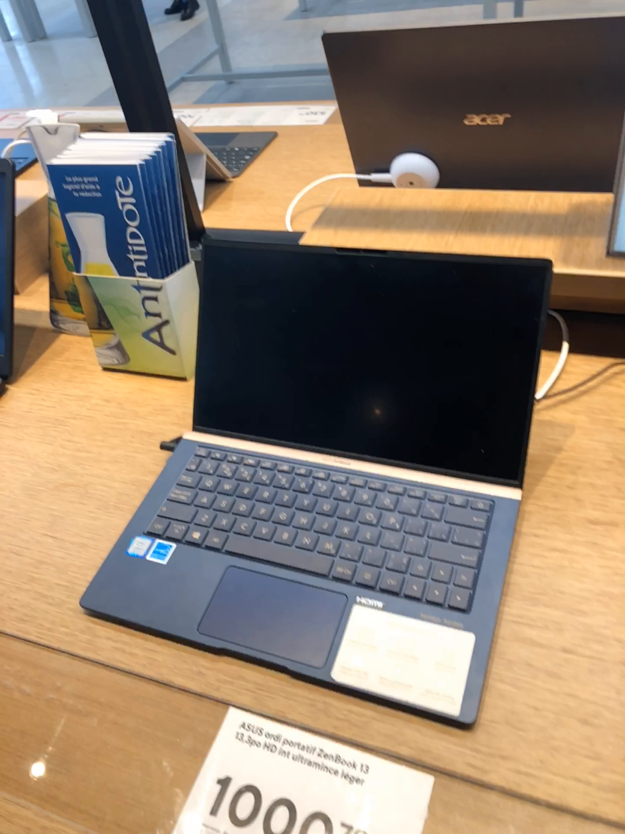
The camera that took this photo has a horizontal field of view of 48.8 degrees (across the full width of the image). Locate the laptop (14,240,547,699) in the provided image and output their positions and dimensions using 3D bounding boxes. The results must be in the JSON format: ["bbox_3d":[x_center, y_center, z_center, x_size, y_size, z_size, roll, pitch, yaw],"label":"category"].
[{"bbox_3d":[0.000,0.009,0.509,0.276,0.130,0.277,9,49,23],"label":"laptop"}]
